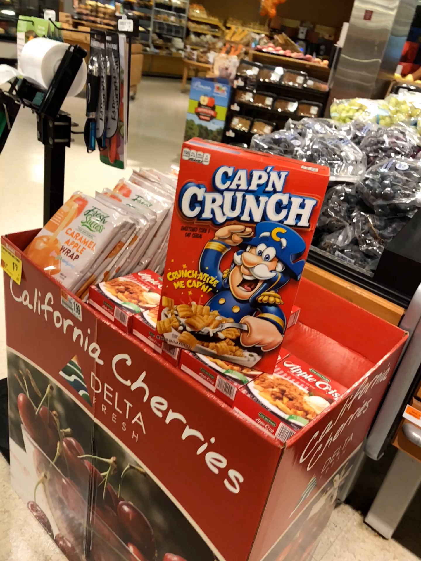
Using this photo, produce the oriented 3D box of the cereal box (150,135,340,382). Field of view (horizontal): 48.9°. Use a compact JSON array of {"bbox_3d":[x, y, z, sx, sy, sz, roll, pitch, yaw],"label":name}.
[{"bbox_3d":[0.041,-0.028,0.711,0.220,0.328,0.070,15,25,10],"label":"cereal box"}]
